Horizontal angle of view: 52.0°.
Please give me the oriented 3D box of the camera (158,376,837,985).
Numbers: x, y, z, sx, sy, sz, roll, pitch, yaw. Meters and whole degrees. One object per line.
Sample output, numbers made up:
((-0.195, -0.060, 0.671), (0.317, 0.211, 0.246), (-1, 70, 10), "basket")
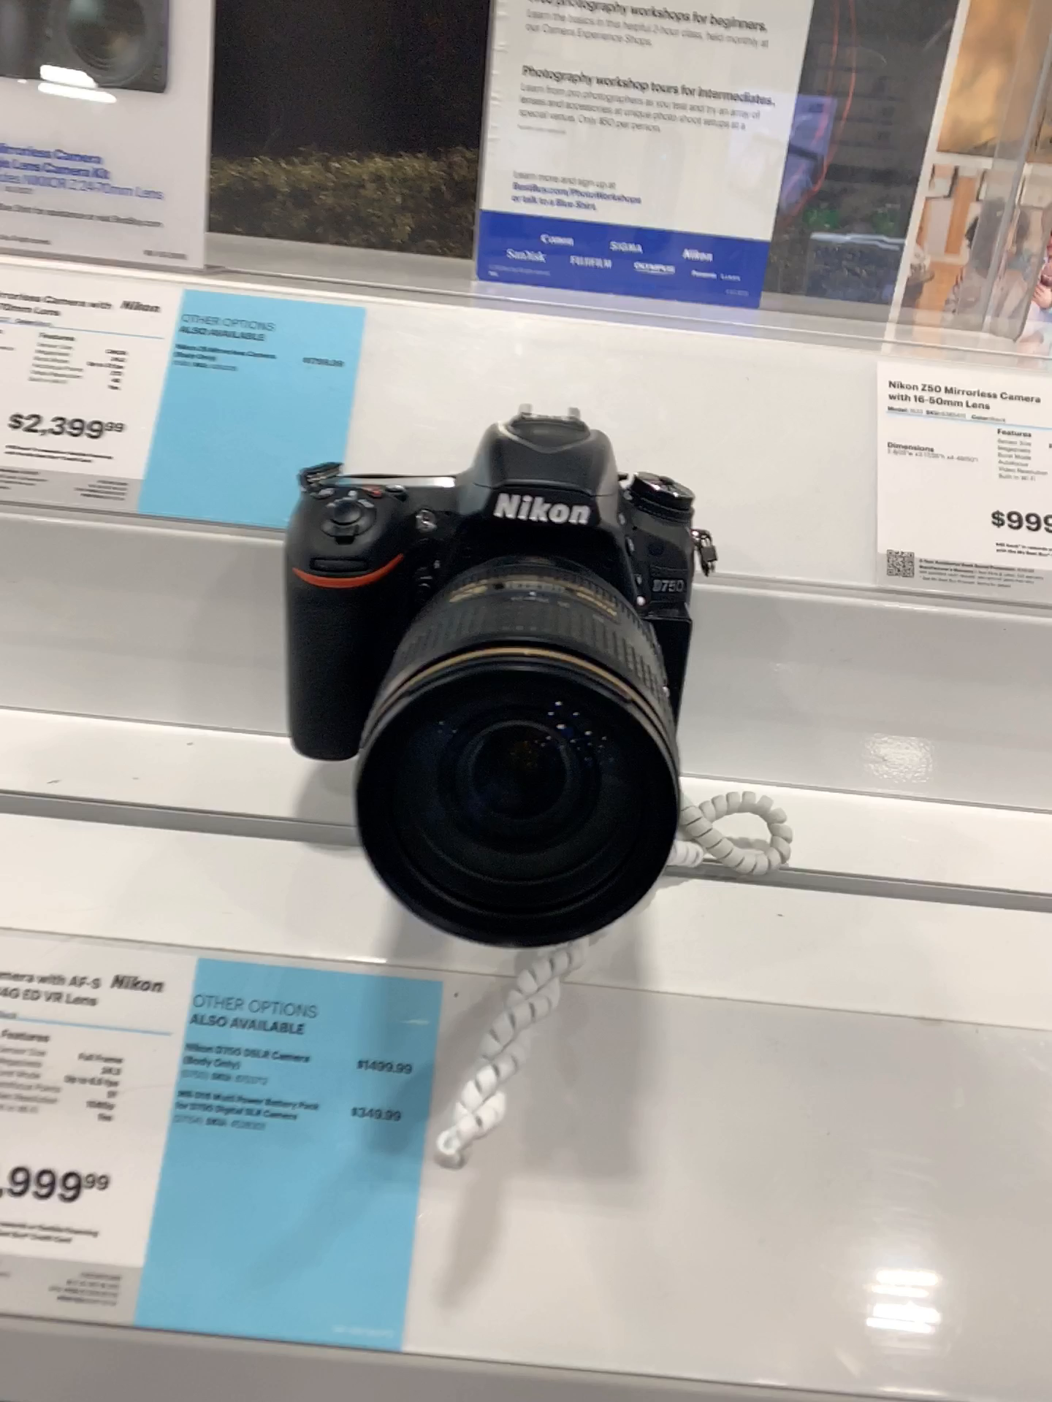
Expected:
((-0.013, -0.021, 0.327), (0.140, 0.111, 0.181), (3, 25, -4), "camera")
